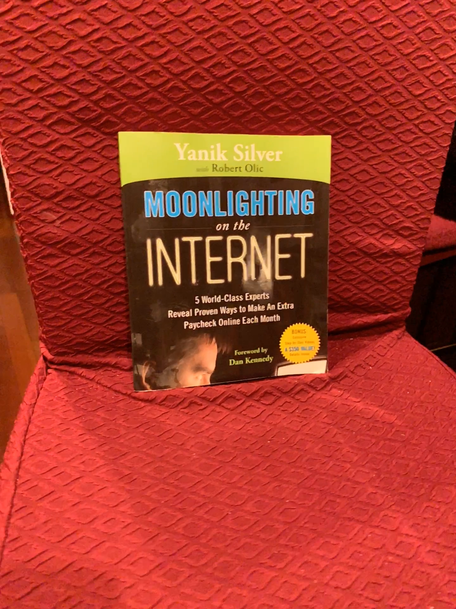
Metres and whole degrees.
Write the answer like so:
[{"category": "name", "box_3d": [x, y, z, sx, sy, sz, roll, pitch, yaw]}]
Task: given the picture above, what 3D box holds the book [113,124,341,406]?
[{"category": "book", "box_3d": [0.004, -0.038, 0.440, 0.200, 0.239, 0.040, -4, 10, -13]}]
